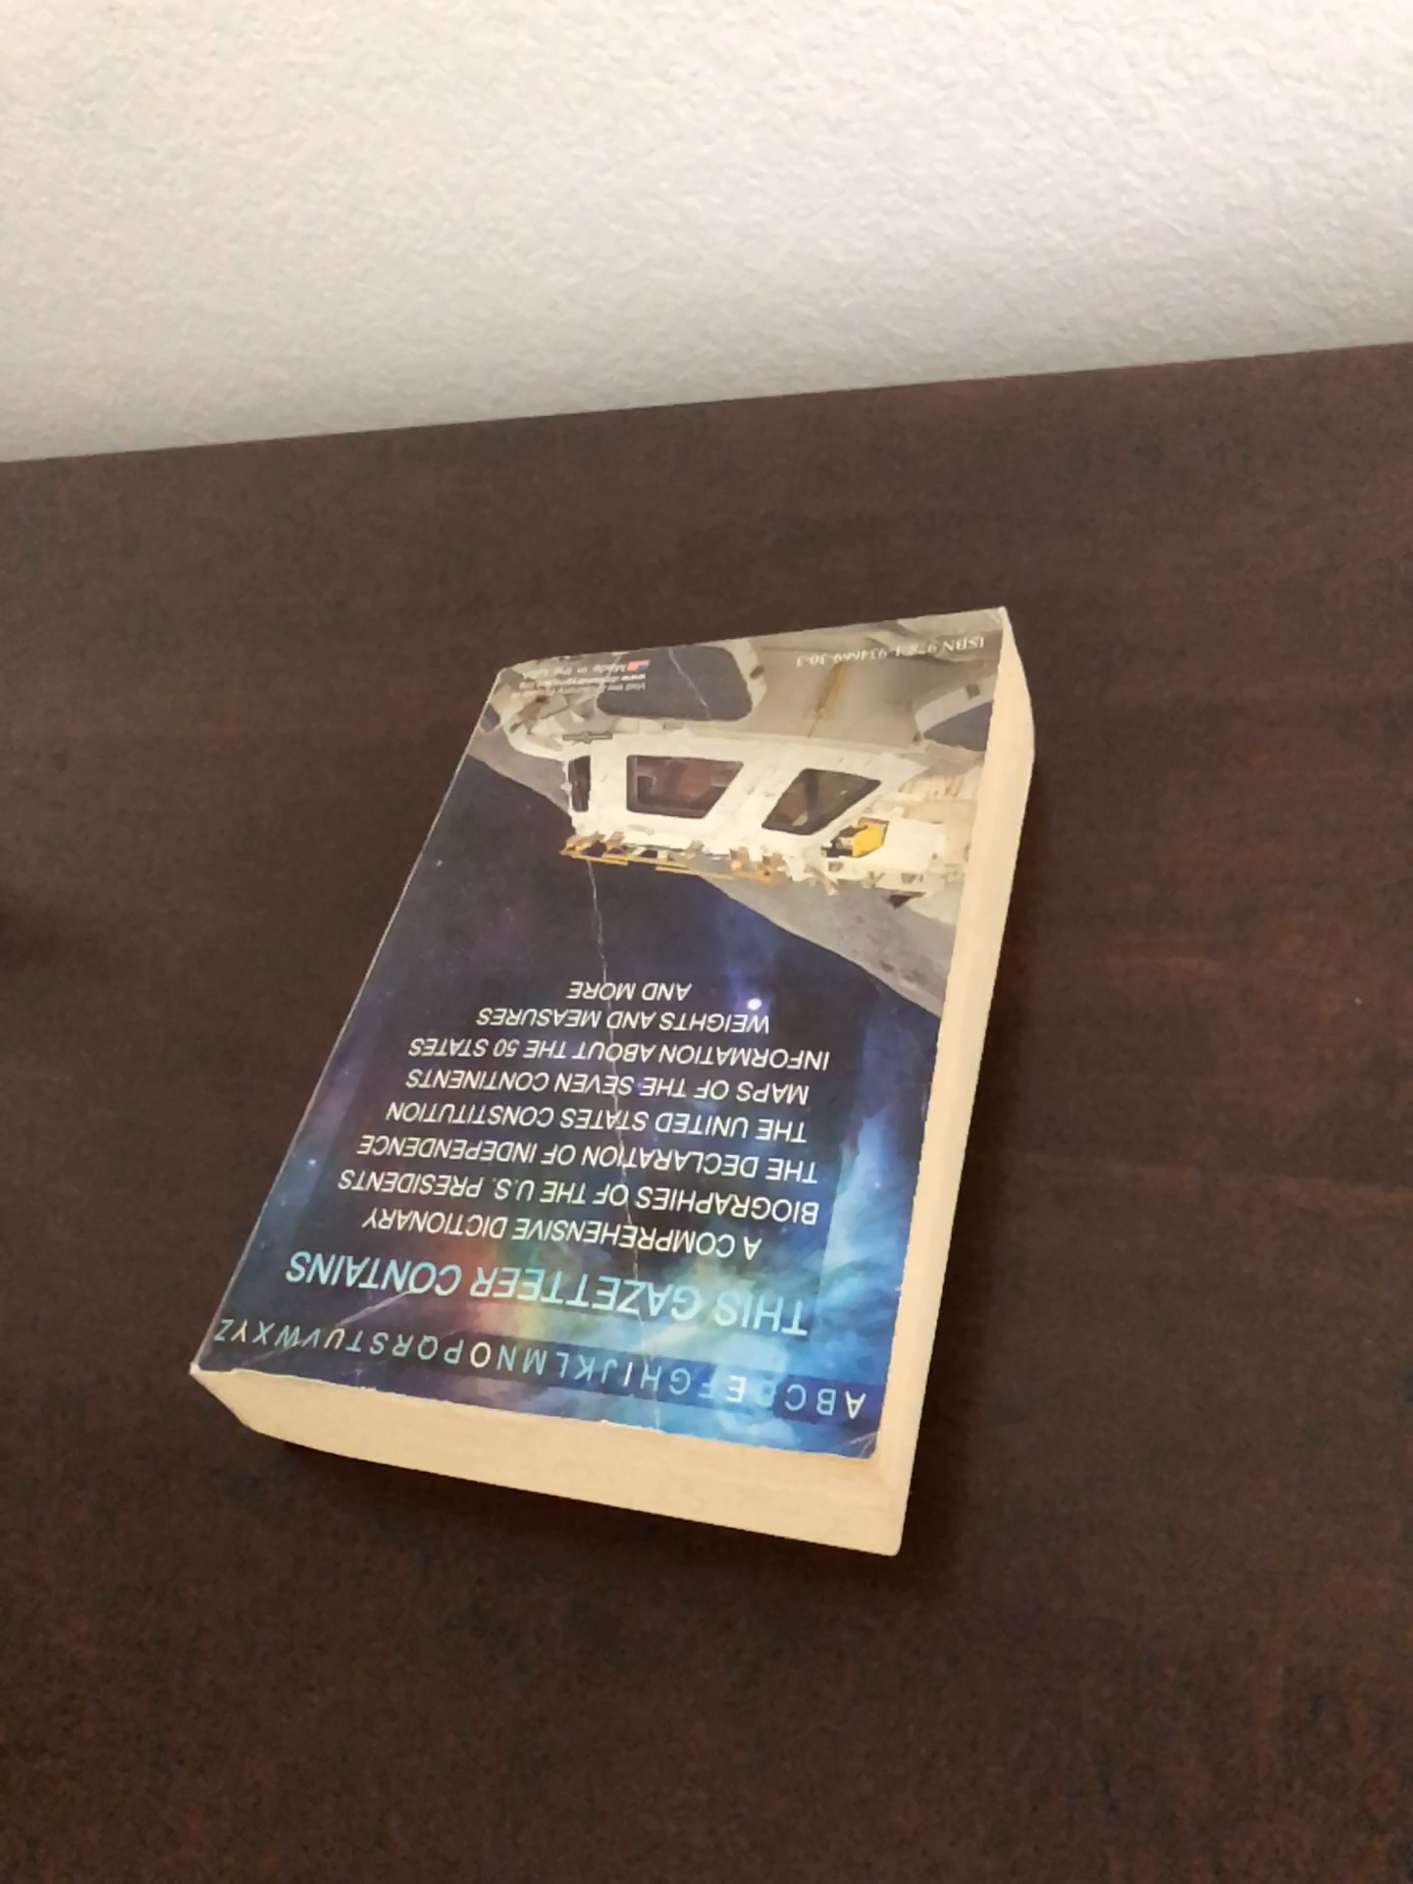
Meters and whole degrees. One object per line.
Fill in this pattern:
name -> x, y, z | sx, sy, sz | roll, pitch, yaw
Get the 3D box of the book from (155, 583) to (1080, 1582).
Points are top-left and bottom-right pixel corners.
book -> -0.008, 0.015, 0.327 | 0.140, 0.040, 0.196 | -1, 53, 26
